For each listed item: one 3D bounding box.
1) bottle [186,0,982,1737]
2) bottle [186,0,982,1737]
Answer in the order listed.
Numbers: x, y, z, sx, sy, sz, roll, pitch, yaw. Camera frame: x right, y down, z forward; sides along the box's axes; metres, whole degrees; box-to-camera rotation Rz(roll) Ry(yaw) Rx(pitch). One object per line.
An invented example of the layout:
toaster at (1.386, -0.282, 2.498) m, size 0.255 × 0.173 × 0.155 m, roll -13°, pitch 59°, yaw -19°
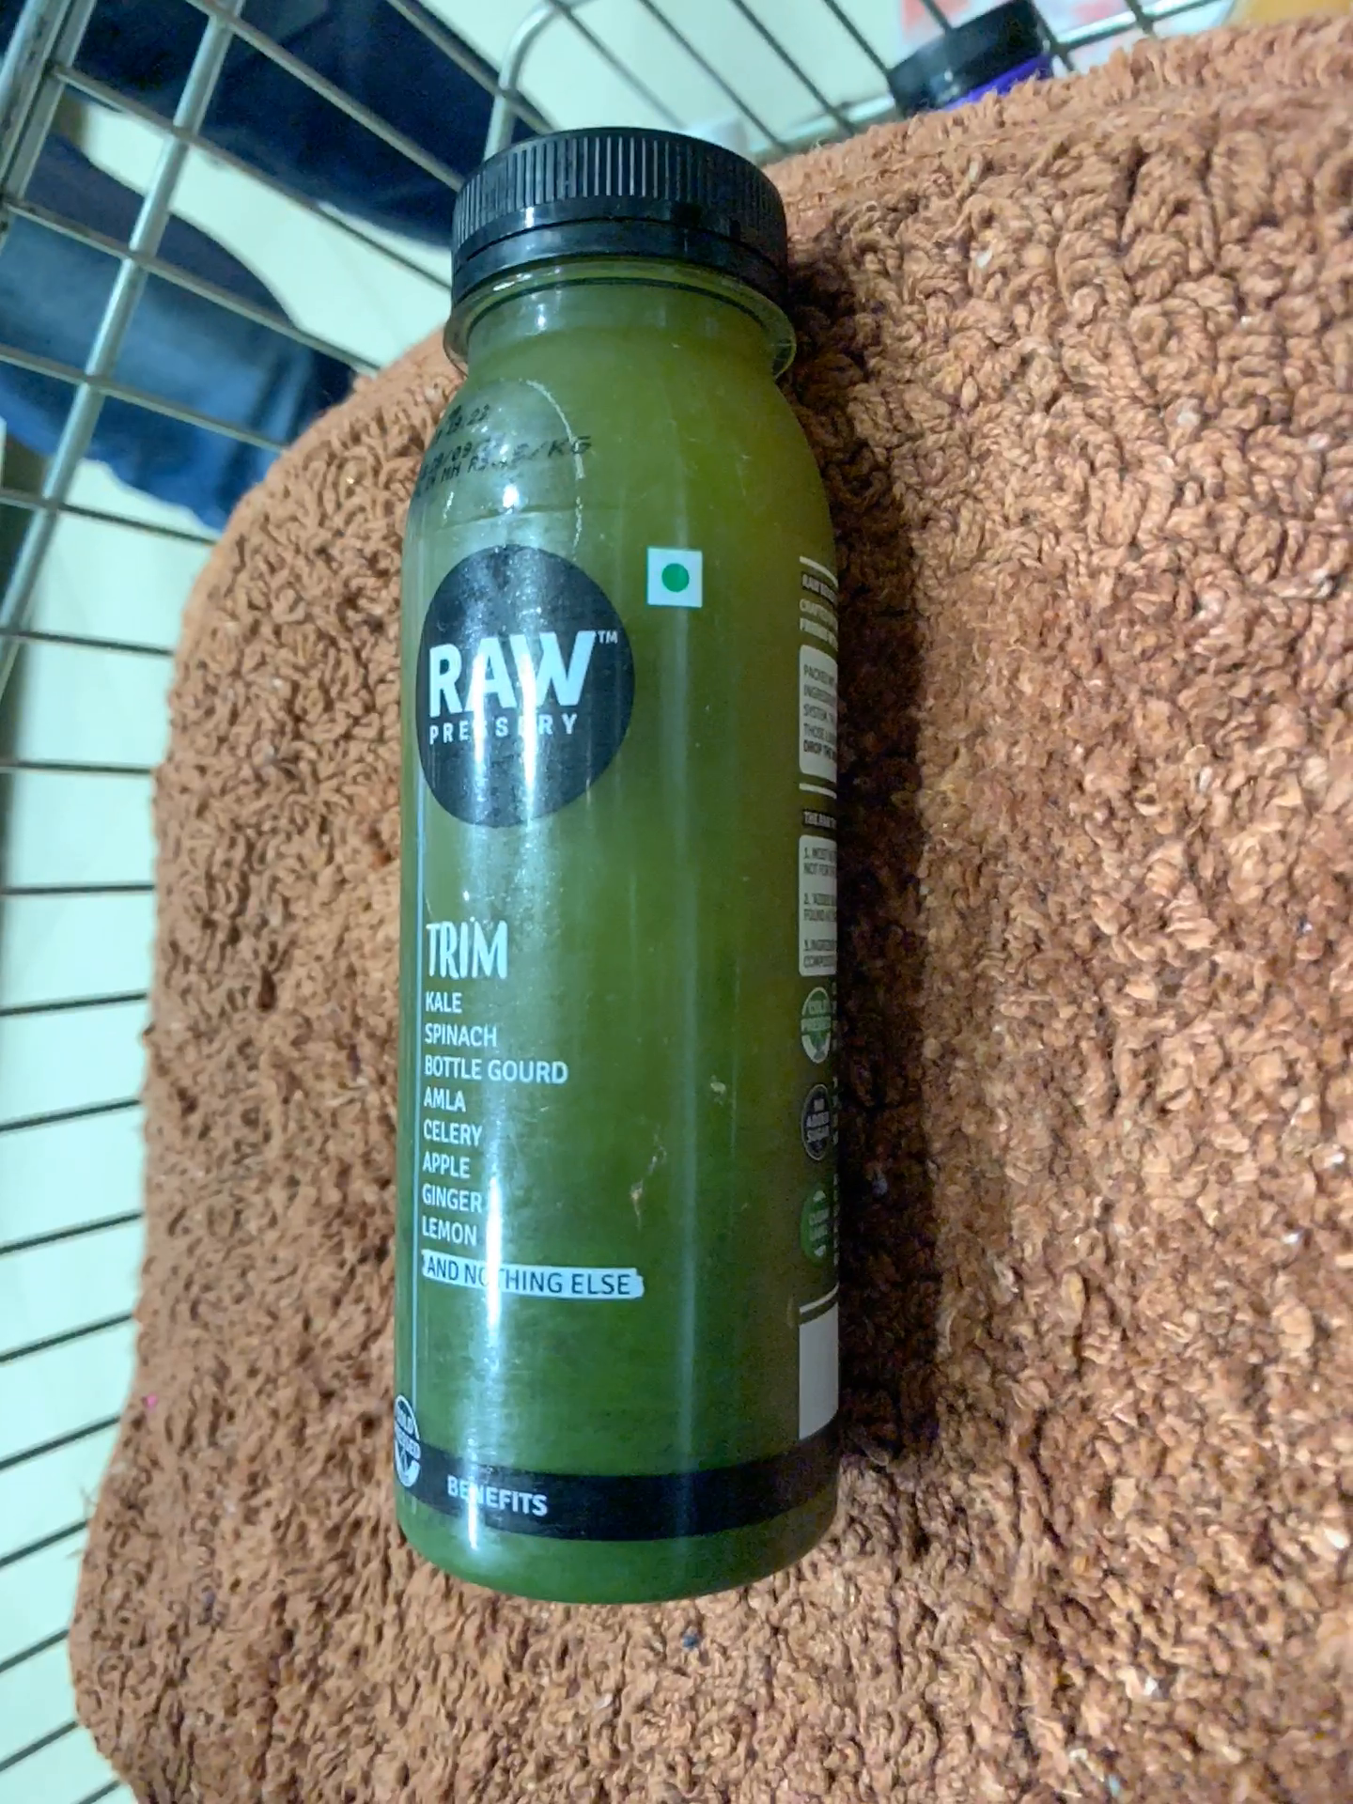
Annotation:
bottle at (-0.007, -0.007, 0.153) m, size 0.060 × 0.050 × 0.150 m, roll 1°, pitch 86°, yaw 29°
bottle at (-0.007, -0.007, 0.153) m, size 0.060 × 0.050 × 0.150 m, roll 1°, pitch 86°, yaw 29°
